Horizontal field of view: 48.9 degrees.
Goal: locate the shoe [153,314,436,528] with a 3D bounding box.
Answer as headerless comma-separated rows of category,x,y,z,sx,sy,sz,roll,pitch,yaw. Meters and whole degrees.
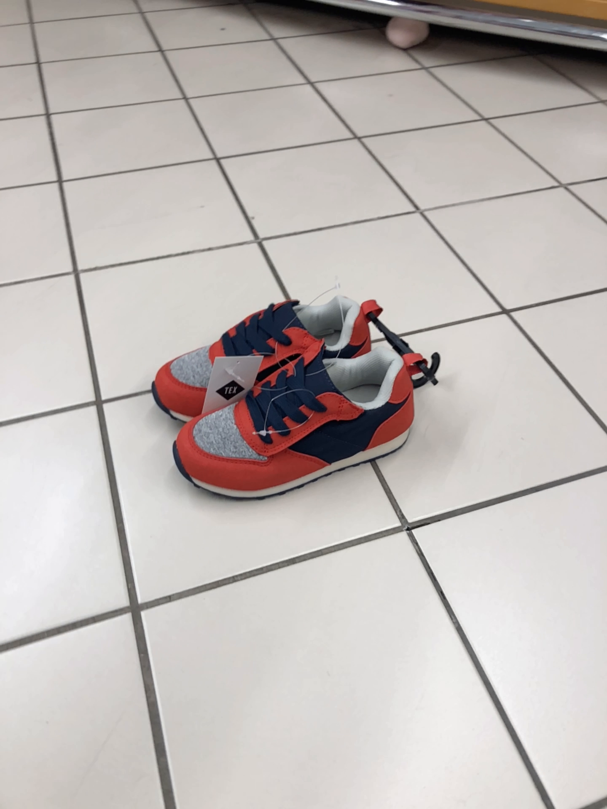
shoe,-0.007,0.009,0.514,0.189,0.083,0.082,-16,49,-16

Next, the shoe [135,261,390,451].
shoe,-0.033,-0.044,0.563,0.187,0.083,0.082,-16,49,-16
